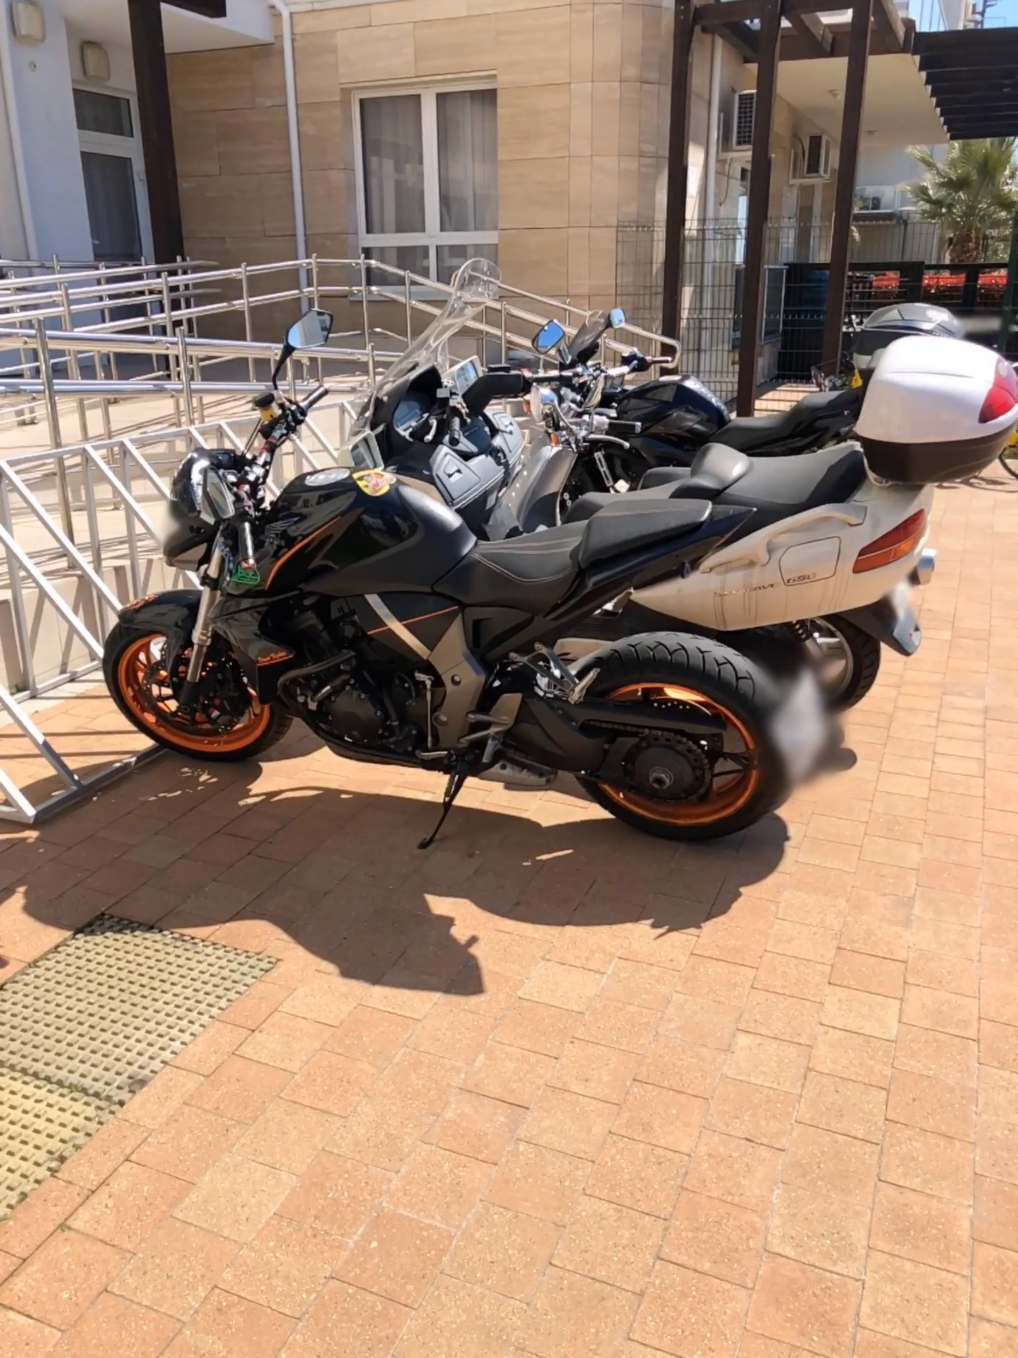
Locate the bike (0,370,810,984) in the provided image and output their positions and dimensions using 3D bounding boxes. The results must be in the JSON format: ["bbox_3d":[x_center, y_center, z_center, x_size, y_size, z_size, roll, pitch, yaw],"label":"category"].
[{"bbox_3d":[-0.281,-0.146,2.902,1.951,1.171,0.798,7,20,20],"label":"bike"}]
